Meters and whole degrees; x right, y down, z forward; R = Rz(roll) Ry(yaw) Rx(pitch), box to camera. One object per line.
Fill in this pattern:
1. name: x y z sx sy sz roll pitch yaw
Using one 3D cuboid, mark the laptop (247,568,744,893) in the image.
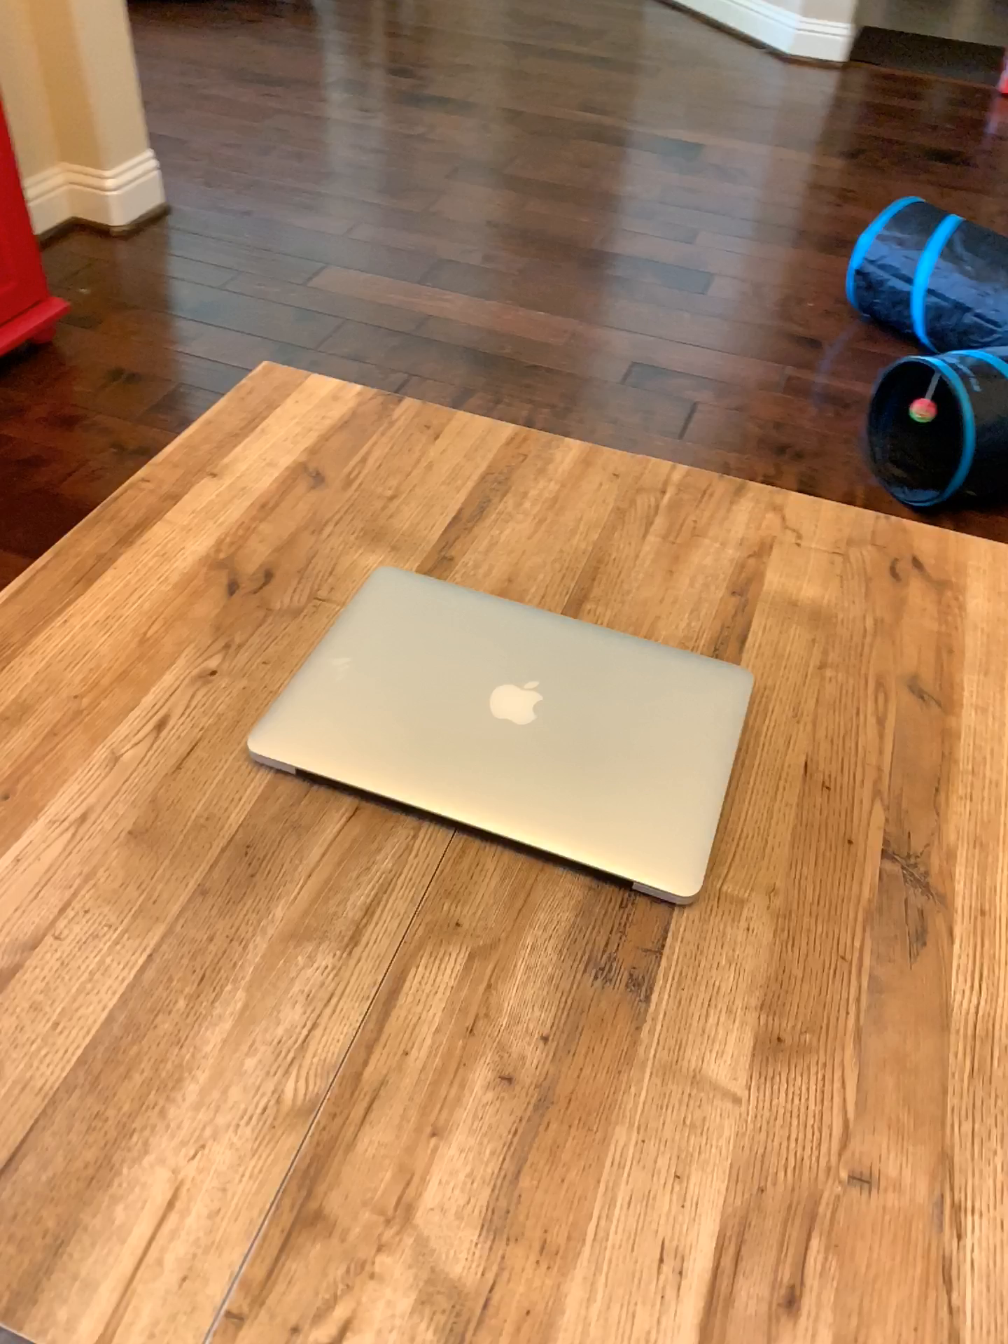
1. laptop: 0.004 0.025 0.728 0.298 0.002 0.208 17 45 11
